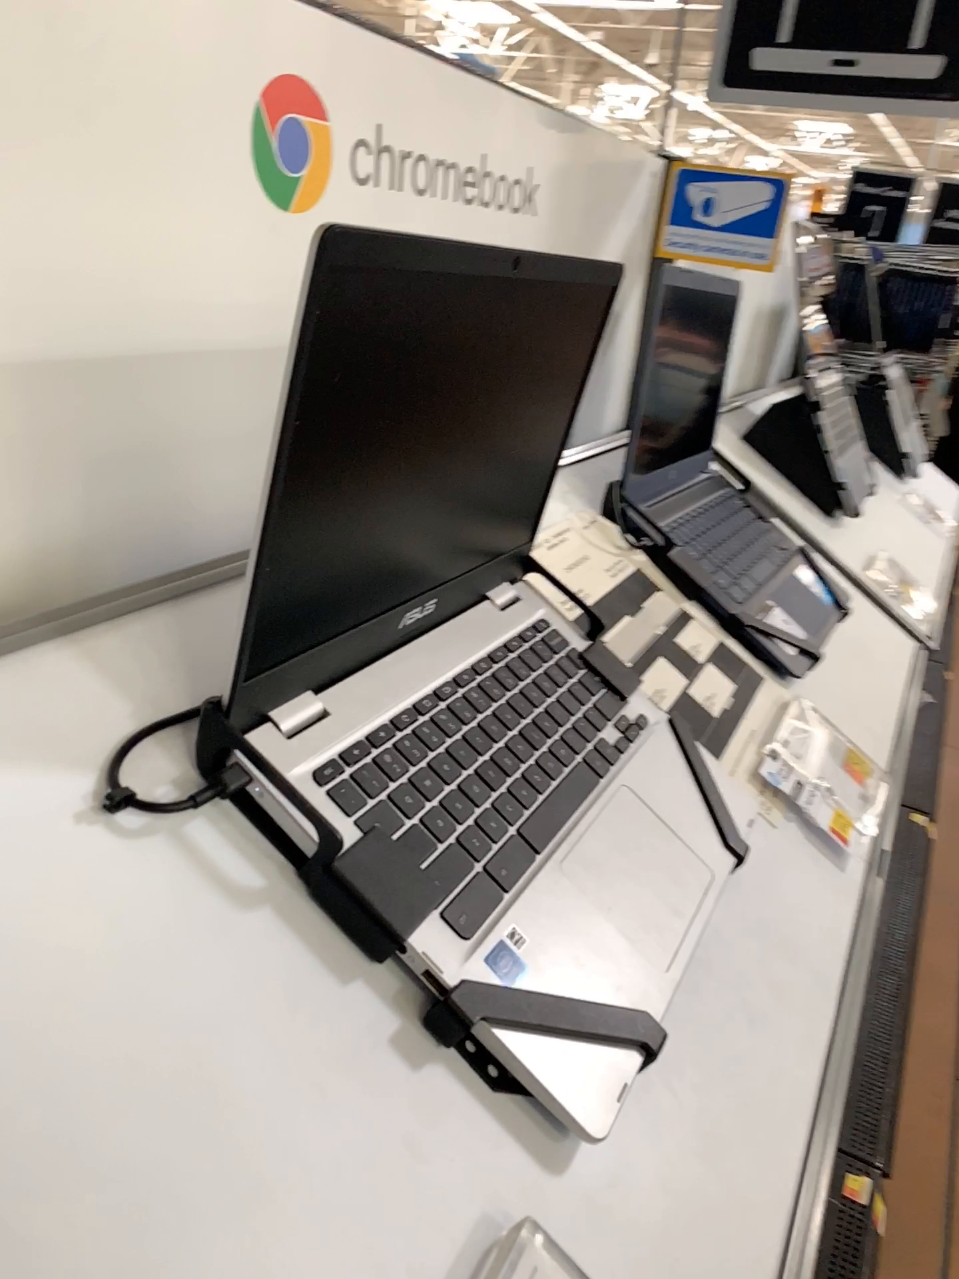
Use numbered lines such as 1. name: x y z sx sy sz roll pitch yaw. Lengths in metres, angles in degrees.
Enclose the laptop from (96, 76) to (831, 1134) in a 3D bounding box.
1. laptop: 0.021 -0.046 0.503 0.292 0.196 0.309 36 29 13
